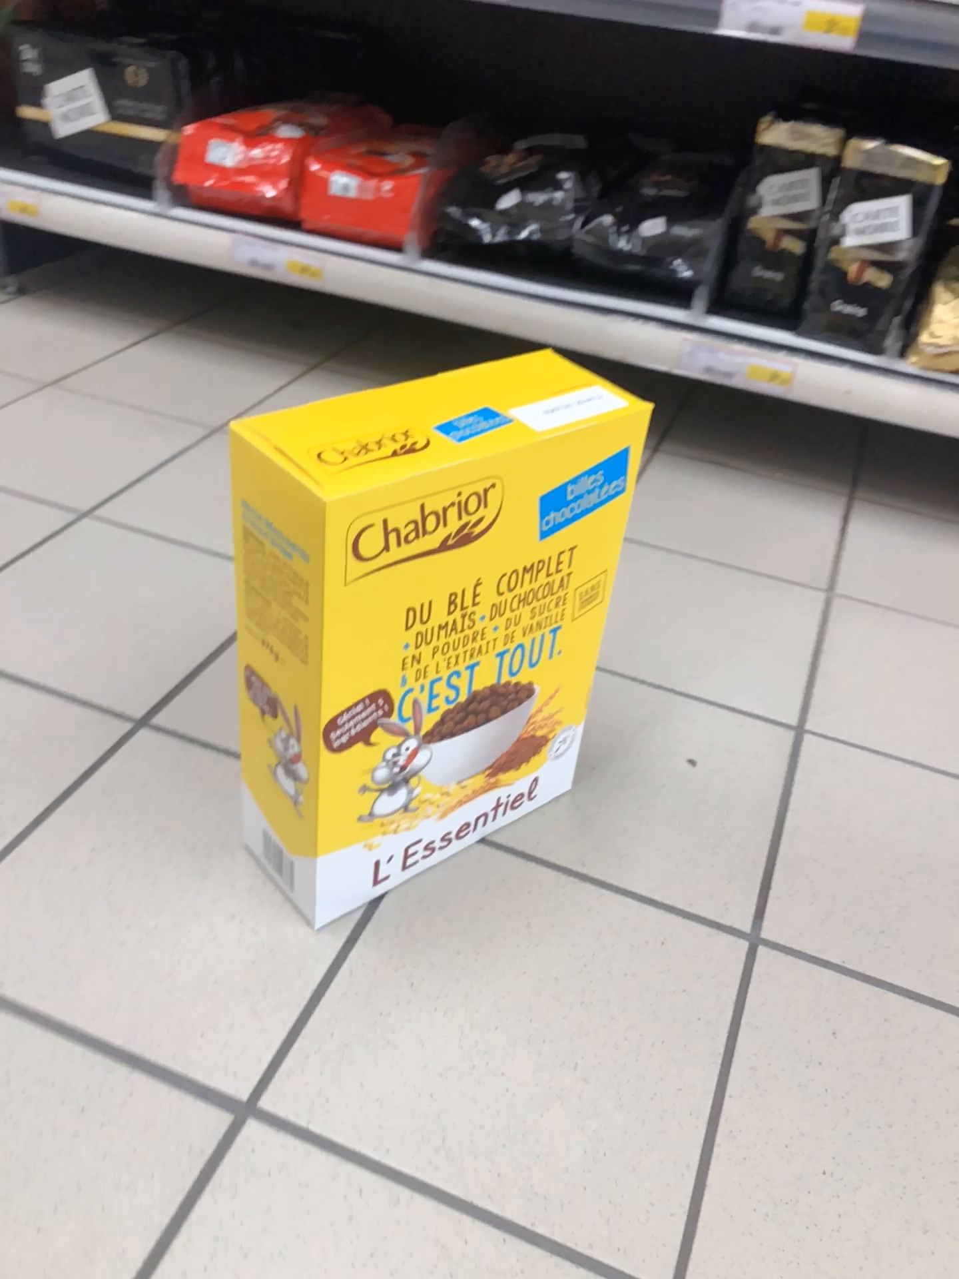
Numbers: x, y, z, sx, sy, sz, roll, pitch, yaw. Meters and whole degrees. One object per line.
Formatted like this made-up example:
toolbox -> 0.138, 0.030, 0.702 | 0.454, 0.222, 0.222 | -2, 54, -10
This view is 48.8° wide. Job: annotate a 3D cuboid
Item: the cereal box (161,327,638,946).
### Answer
cereal box -> -0.042, -0.004, 0.554 | 0.201, 0.268, 0.090 | -21, 43, -34
